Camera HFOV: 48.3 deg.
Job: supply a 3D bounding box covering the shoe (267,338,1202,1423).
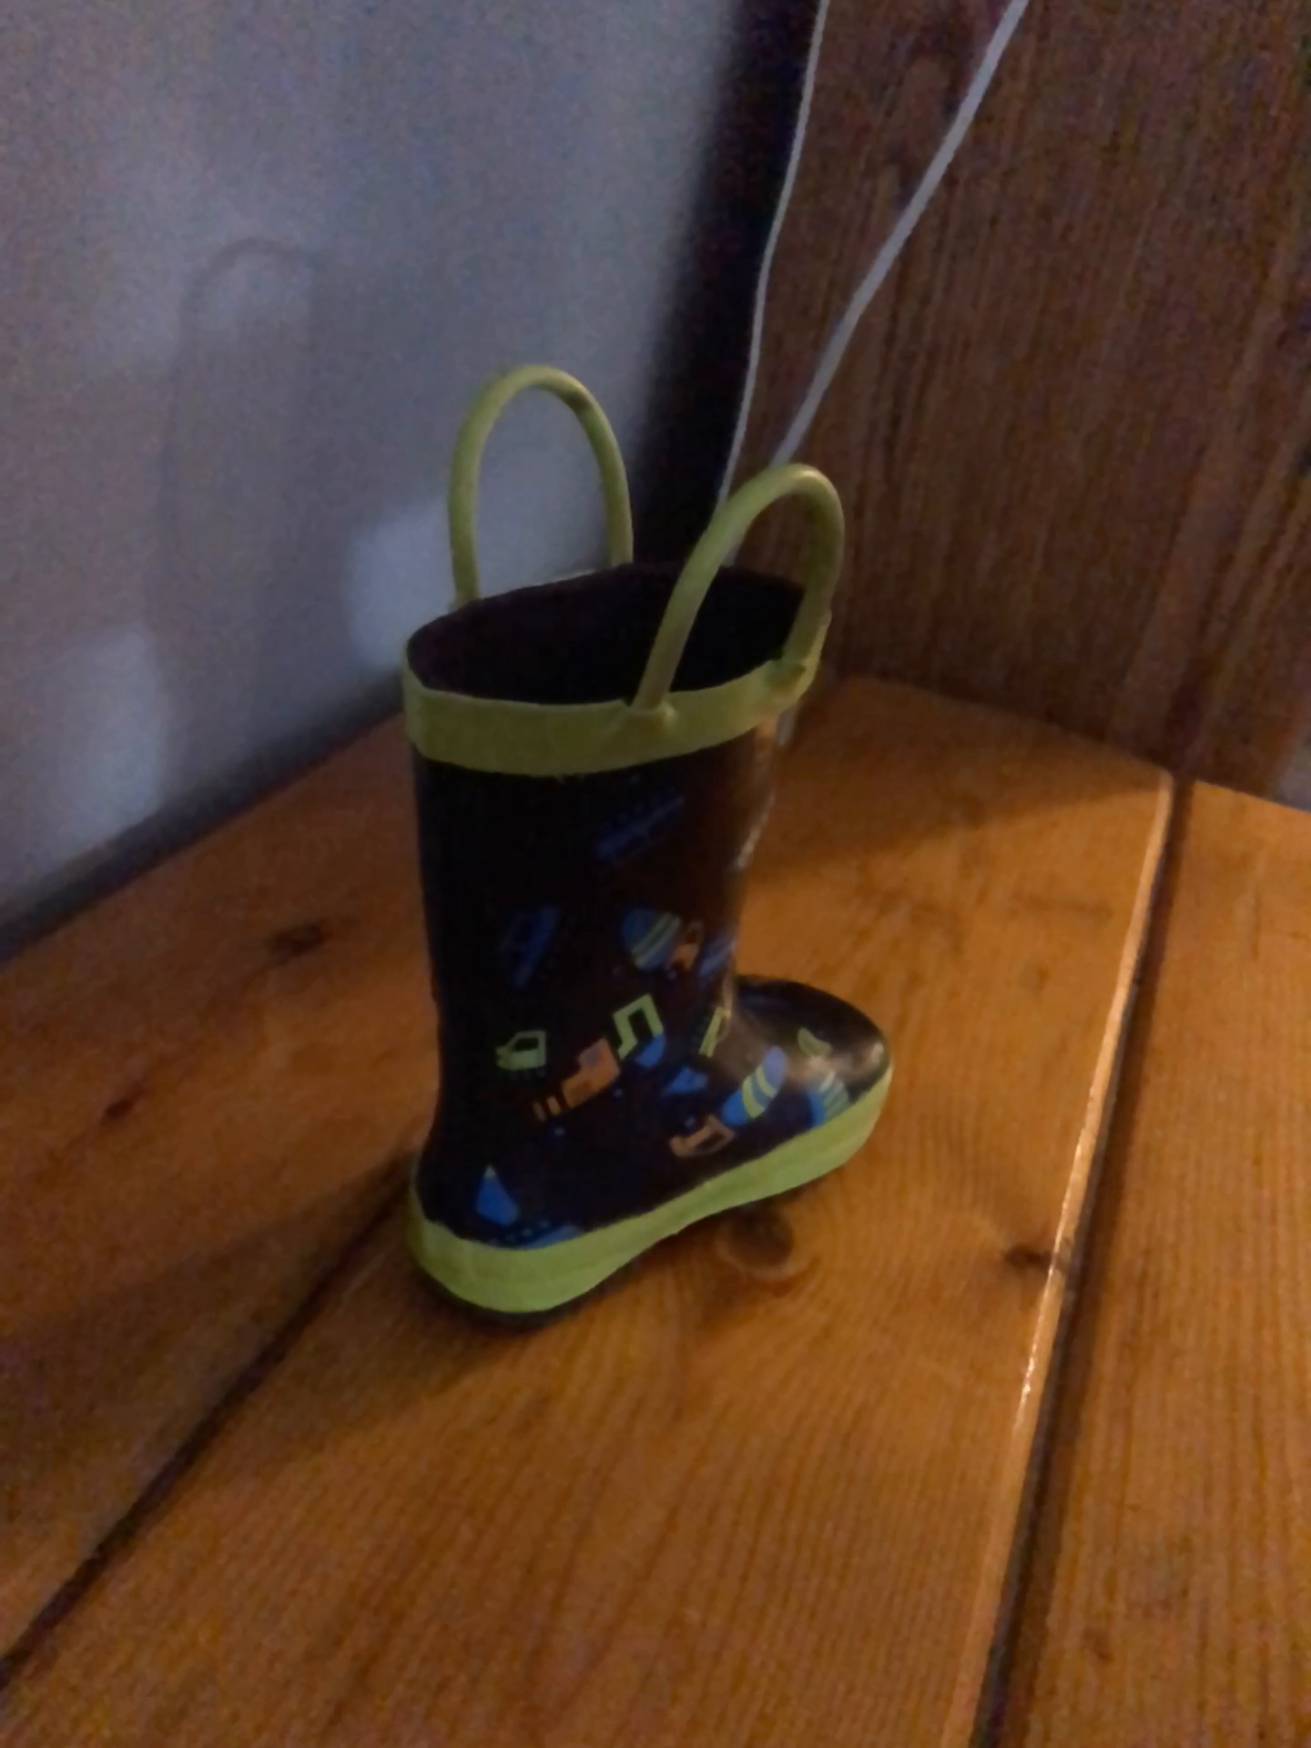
[{"bbox_3d":[0.013,-0.009,0.335,0.170,0.199,0.080,-18,42,-41],"label":"shoe"}]
